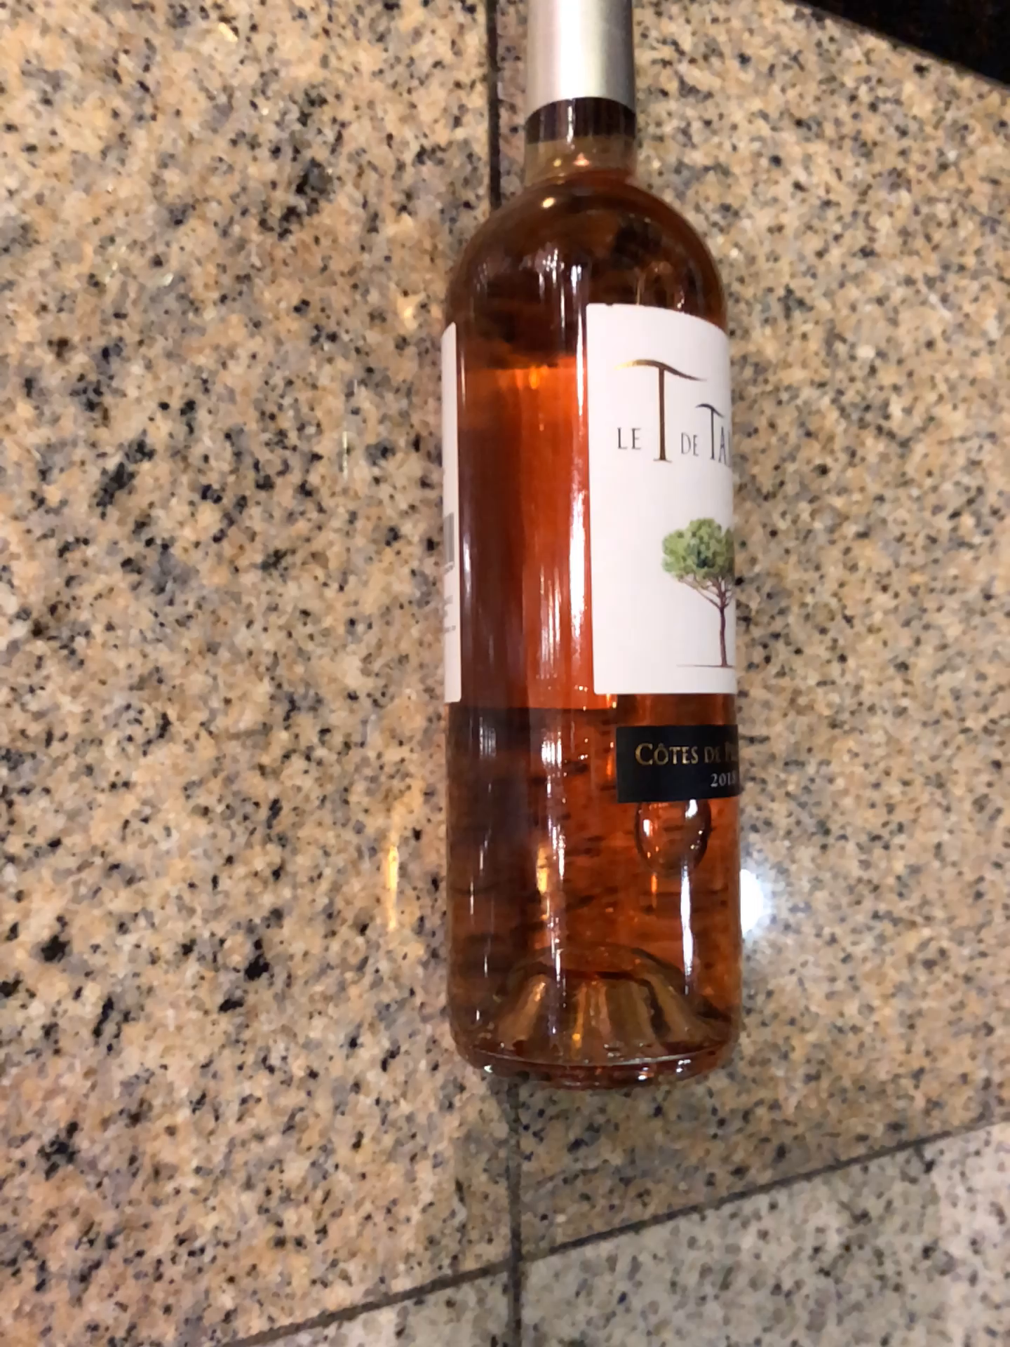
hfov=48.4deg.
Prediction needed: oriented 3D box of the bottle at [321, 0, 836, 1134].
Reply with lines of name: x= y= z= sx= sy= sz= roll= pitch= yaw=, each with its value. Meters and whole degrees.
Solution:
bottle: x=0.013 y=-0.072 z=0.272 sx=0.090 sy=0.080 sz=0.320 roll=1 pitch=87 yaw=-29
